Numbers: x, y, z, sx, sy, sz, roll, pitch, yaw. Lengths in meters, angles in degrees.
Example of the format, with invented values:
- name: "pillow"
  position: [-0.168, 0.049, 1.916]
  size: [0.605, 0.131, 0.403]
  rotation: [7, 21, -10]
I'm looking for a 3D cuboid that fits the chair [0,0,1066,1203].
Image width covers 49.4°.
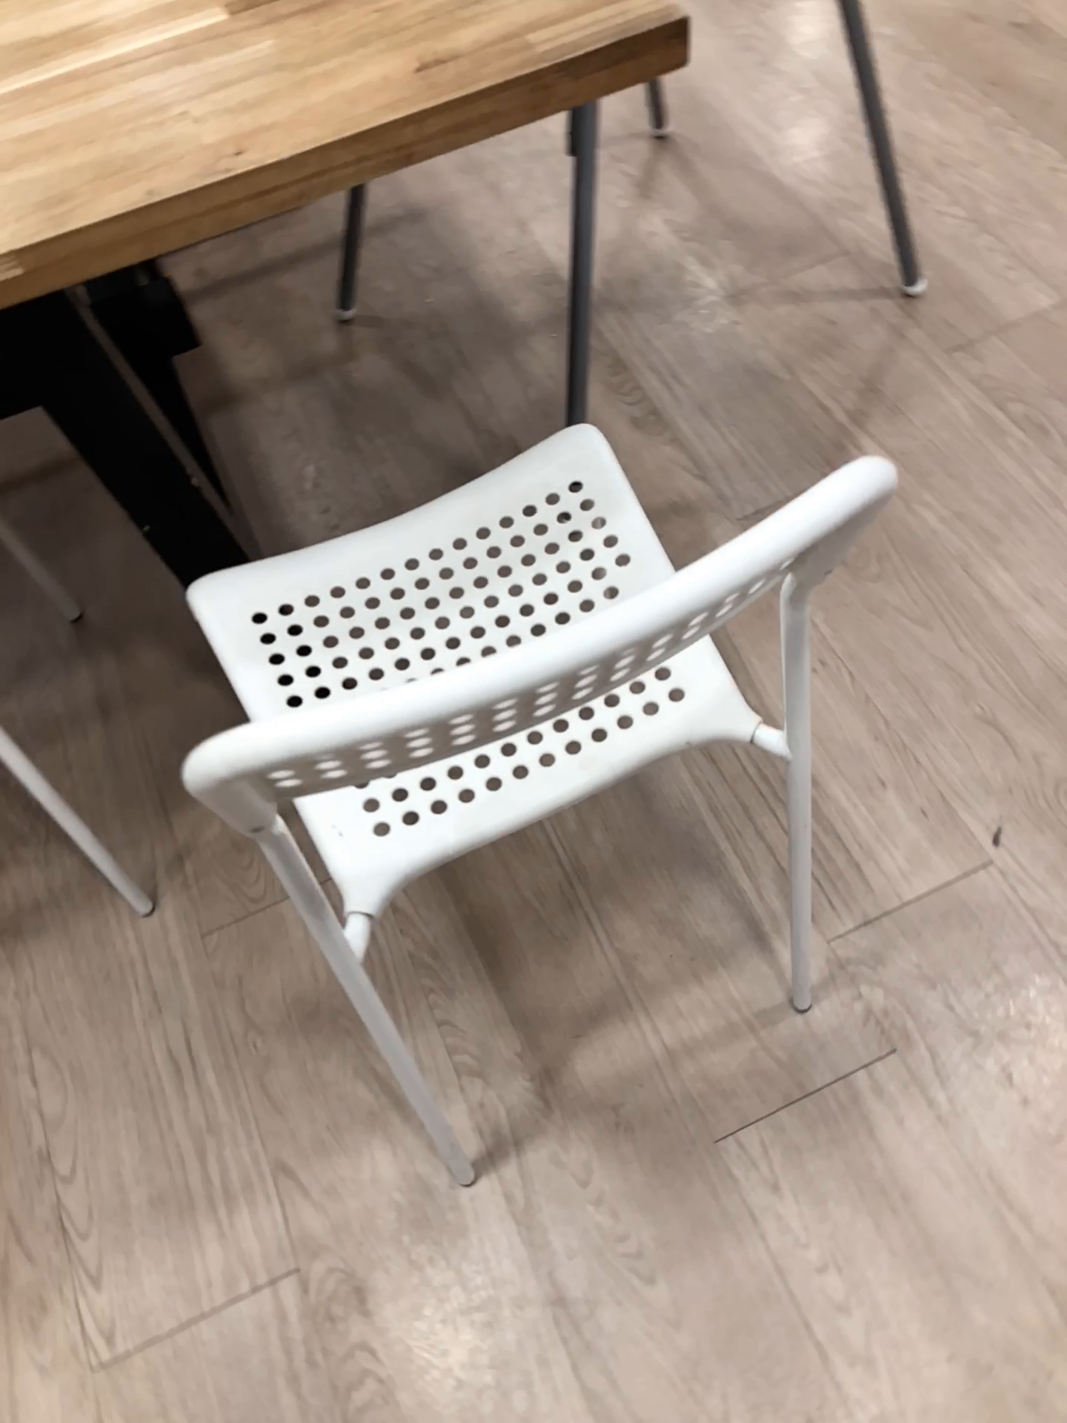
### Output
- name: "chair"
  position: [-0.019, -0.006, 0.866]
  size: [0.420, 0.697, 0.452]
  rotation: [-23, 58, -7]
